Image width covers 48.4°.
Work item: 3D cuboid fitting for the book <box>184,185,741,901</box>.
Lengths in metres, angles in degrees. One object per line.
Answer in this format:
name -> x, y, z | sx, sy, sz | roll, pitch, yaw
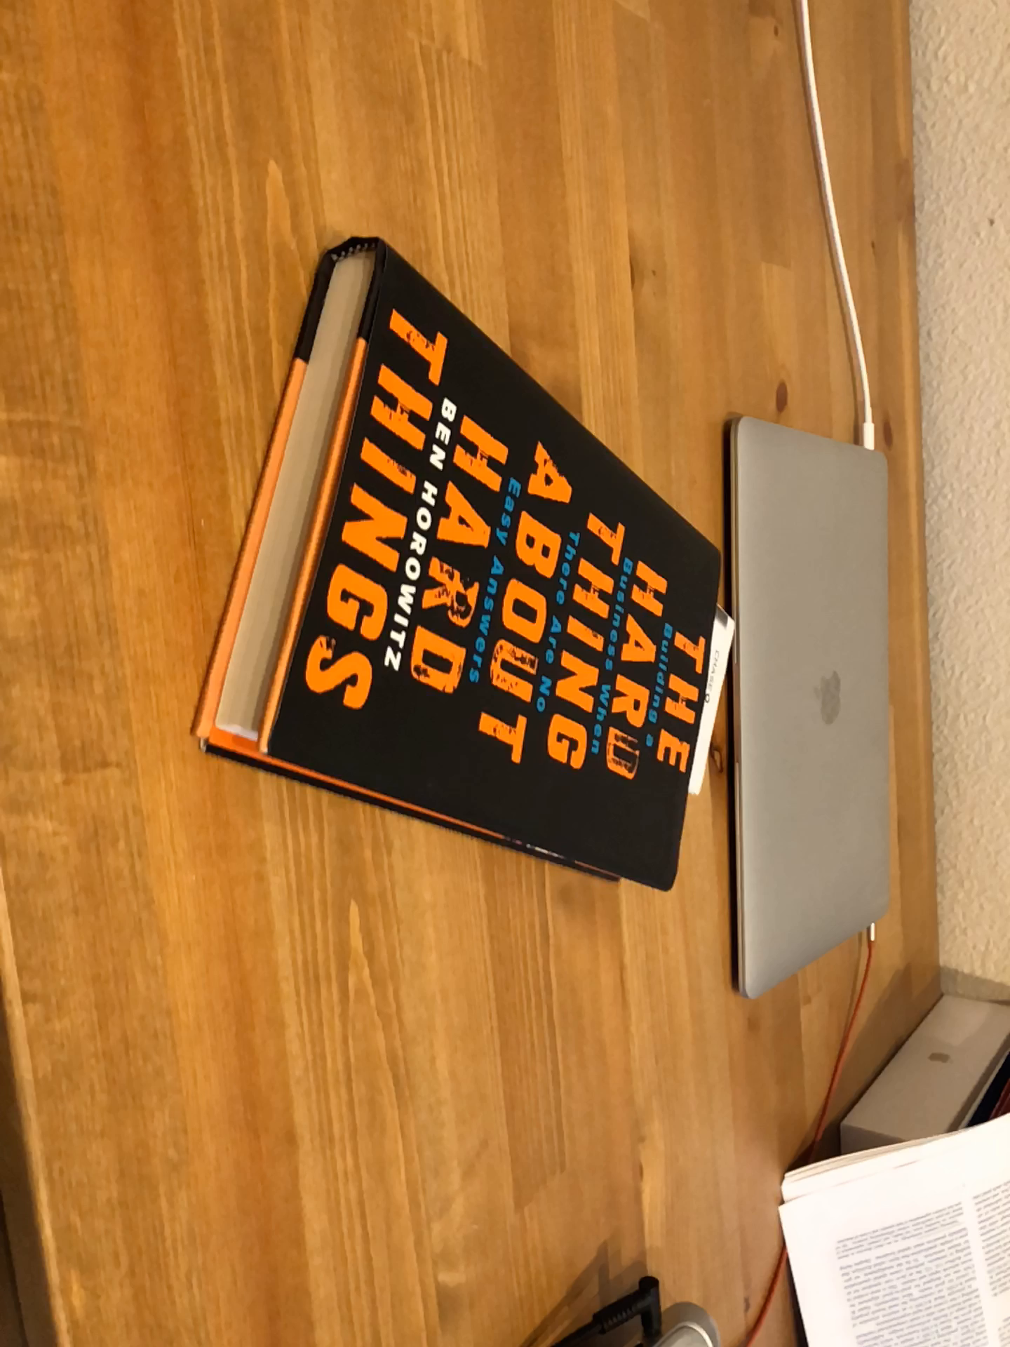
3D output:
book -> 0.009, -0.022, 0.376 | 0.221, 0.030, 0.160 | 28, 69, -50
